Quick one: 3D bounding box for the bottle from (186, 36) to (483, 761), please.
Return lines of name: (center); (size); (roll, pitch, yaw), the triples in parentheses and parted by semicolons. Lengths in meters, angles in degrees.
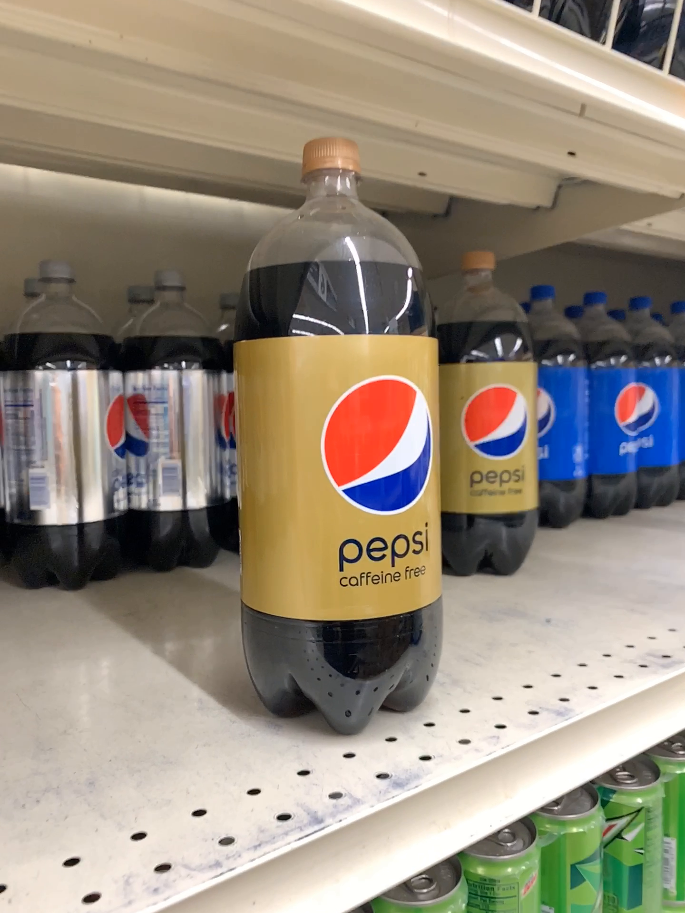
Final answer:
bottle: (-0.006, -0.025, 0.369); (0.110, 0.300, 0.110); (-1, 4, 0)
